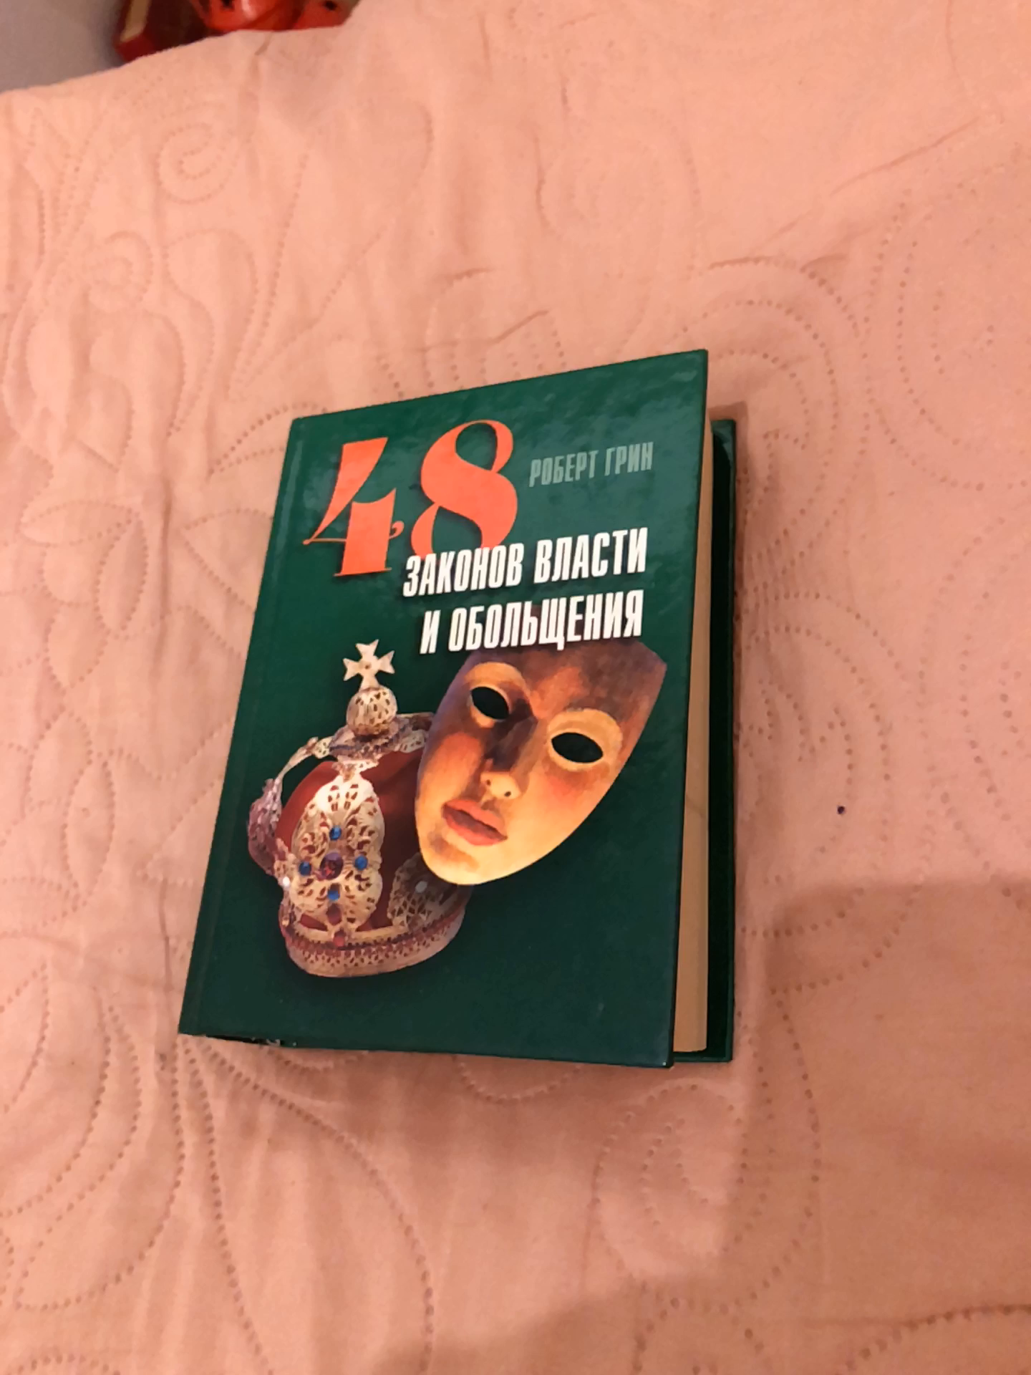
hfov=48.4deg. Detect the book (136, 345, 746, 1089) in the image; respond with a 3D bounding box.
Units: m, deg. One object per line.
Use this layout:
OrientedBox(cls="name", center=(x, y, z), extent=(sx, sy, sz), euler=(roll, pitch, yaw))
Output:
OrientedBox(cls="book", center=(-0.010, 0.004, 0.242), extent=(0.110, 0.032, 0.143), euler=(-3, 66, 20))
